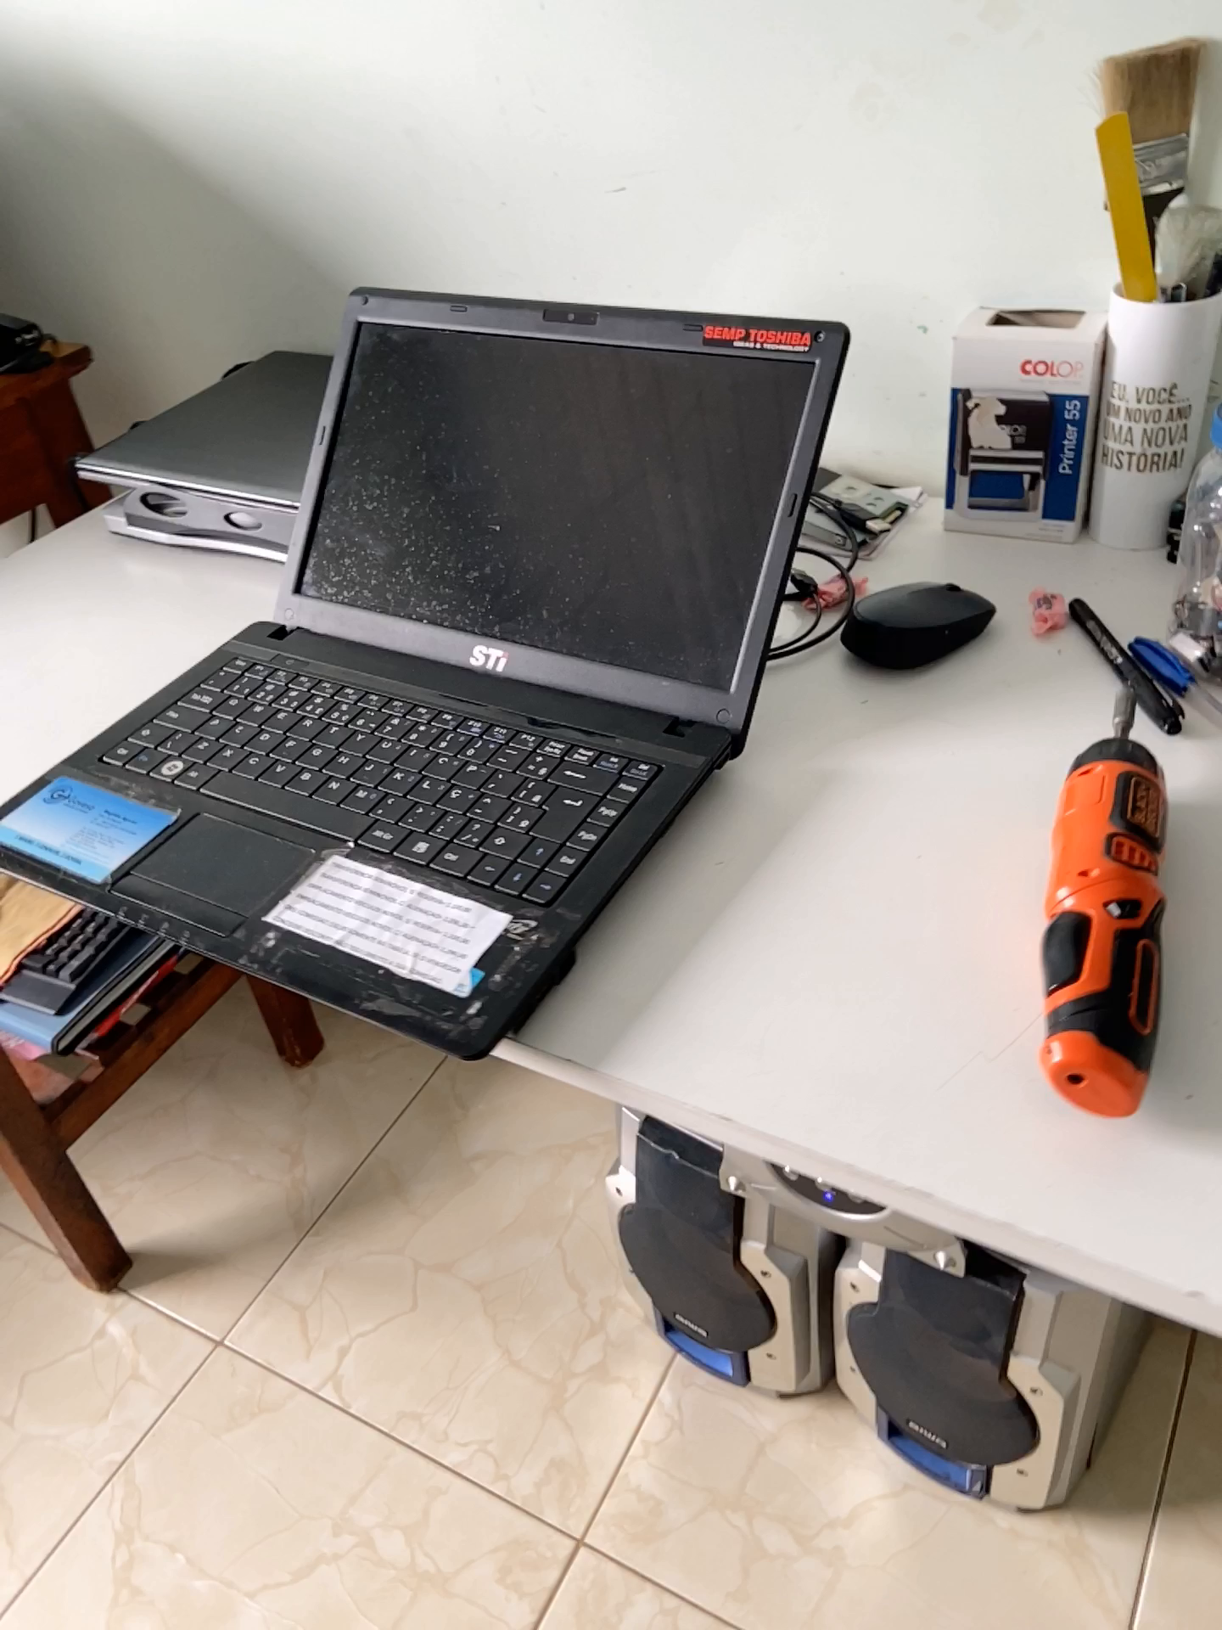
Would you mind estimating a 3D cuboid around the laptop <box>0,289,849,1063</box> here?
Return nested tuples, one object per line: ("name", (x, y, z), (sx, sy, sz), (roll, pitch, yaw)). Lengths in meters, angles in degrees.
("laptop", (-0.110, -0.118, 0.646), (0.335, 0.159, 0.386), (16, 45, 28))
